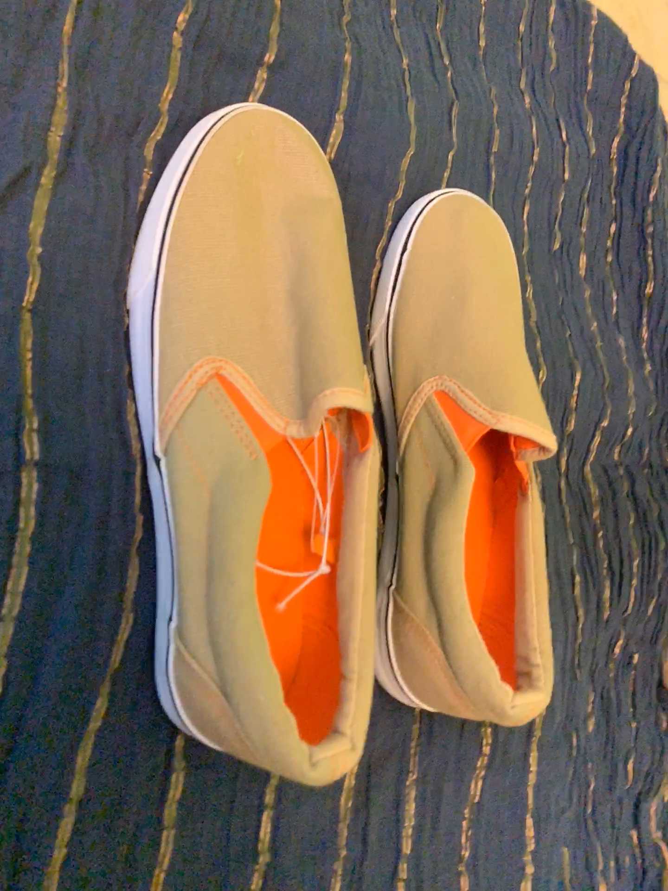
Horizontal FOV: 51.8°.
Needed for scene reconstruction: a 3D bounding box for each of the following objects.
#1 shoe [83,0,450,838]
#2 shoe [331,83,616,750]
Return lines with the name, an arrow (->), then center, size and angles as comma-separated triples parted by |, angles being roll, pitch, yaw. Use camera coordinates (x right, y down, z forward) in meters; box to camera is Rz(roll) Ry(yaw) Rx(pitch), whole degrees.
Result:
shoe -> -0.020, -0.020, 0.256 | 0.096, 0.080, 0.262 | 9, 77, -38
shoe -> 0.067, -0.012, 0.334 | 0.100, 0.080, 0.271 | 10, 77, -38
